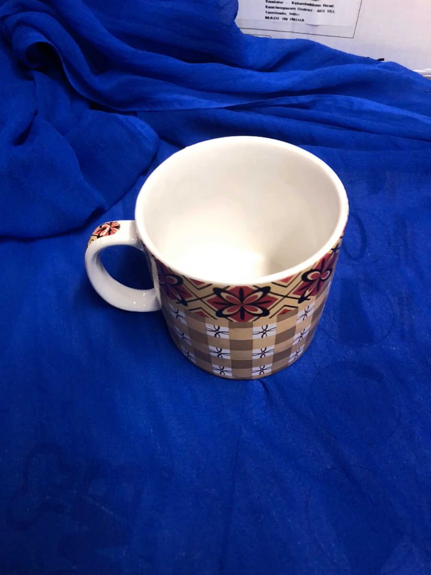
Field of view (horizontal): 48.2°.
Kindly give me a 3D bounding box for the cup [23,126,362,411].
[{"bbox_3d":[-0.007,-0.002,0.203,0.100,0.099,0.070,2,55,-1],"label":"cup"}]
